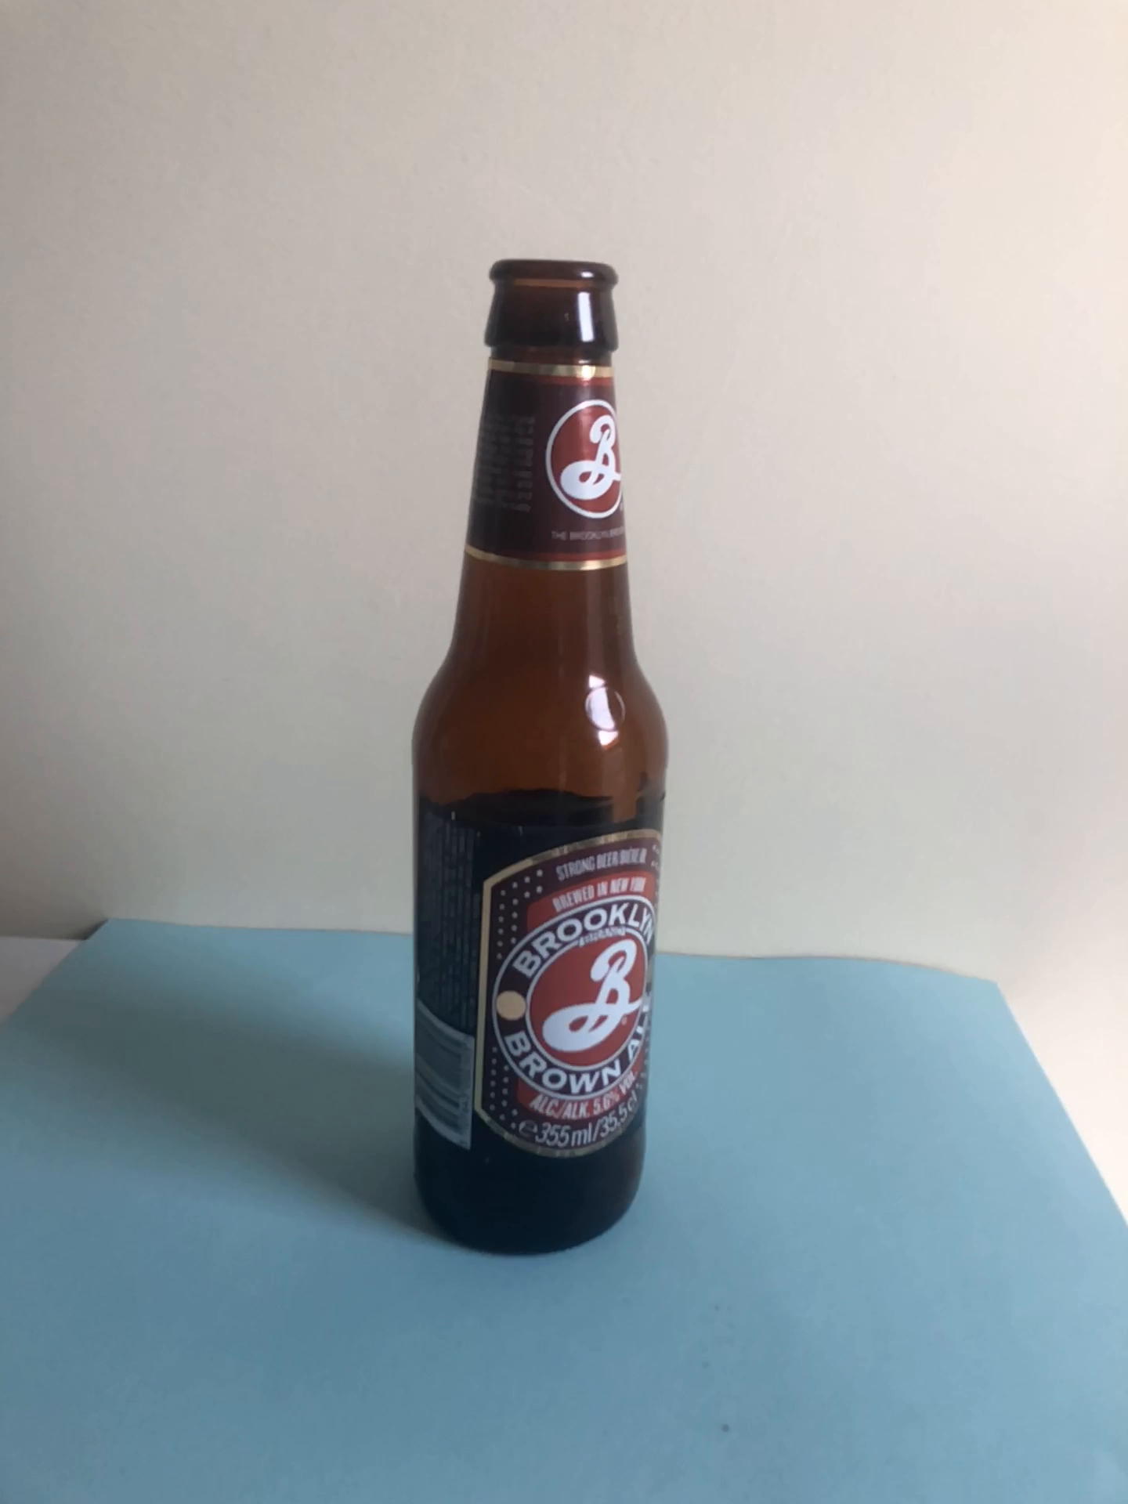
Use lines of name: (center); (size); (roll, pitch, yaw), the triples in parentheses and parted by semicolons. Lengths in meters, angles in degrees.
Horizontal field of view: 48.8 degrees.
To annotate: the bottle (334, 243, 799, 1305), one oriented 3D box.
bottle: (-0.006, 0.004, 0.296); (0.070, 0.229, 0.070); (2, 20, -1)
